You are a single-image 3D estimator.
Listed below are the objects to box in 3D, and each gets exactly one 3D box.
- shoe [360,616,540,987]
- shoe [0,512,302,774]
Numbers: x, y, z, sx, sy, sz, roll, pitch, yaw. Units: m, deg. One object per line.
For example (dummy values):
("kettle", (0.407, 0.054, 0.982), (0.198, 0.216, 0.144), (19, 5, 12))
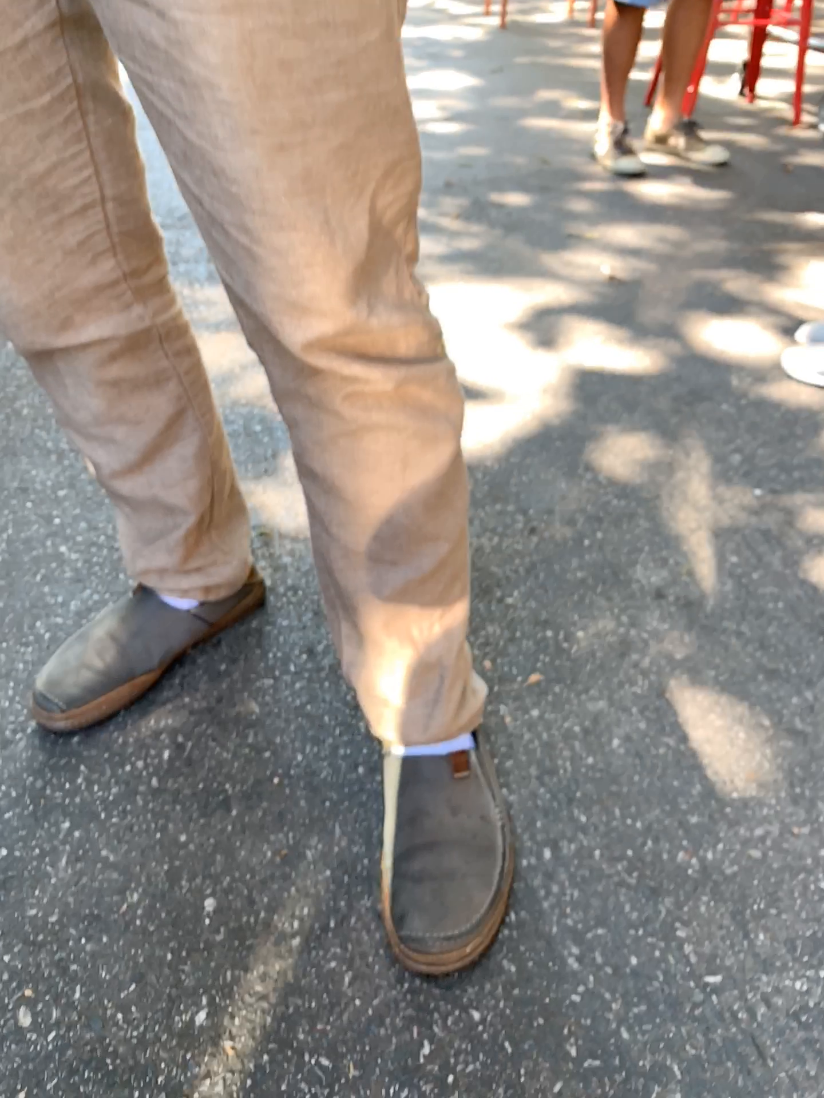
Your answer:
("shoe", (0.021, 0.204, 0.762), (0.120, 0.080, 0.322), (-4, 39, -3))
("shoe", (-0.273, 0.084, 0.911), (0.120, 0.060, 0.321), (23, 45, 28))
